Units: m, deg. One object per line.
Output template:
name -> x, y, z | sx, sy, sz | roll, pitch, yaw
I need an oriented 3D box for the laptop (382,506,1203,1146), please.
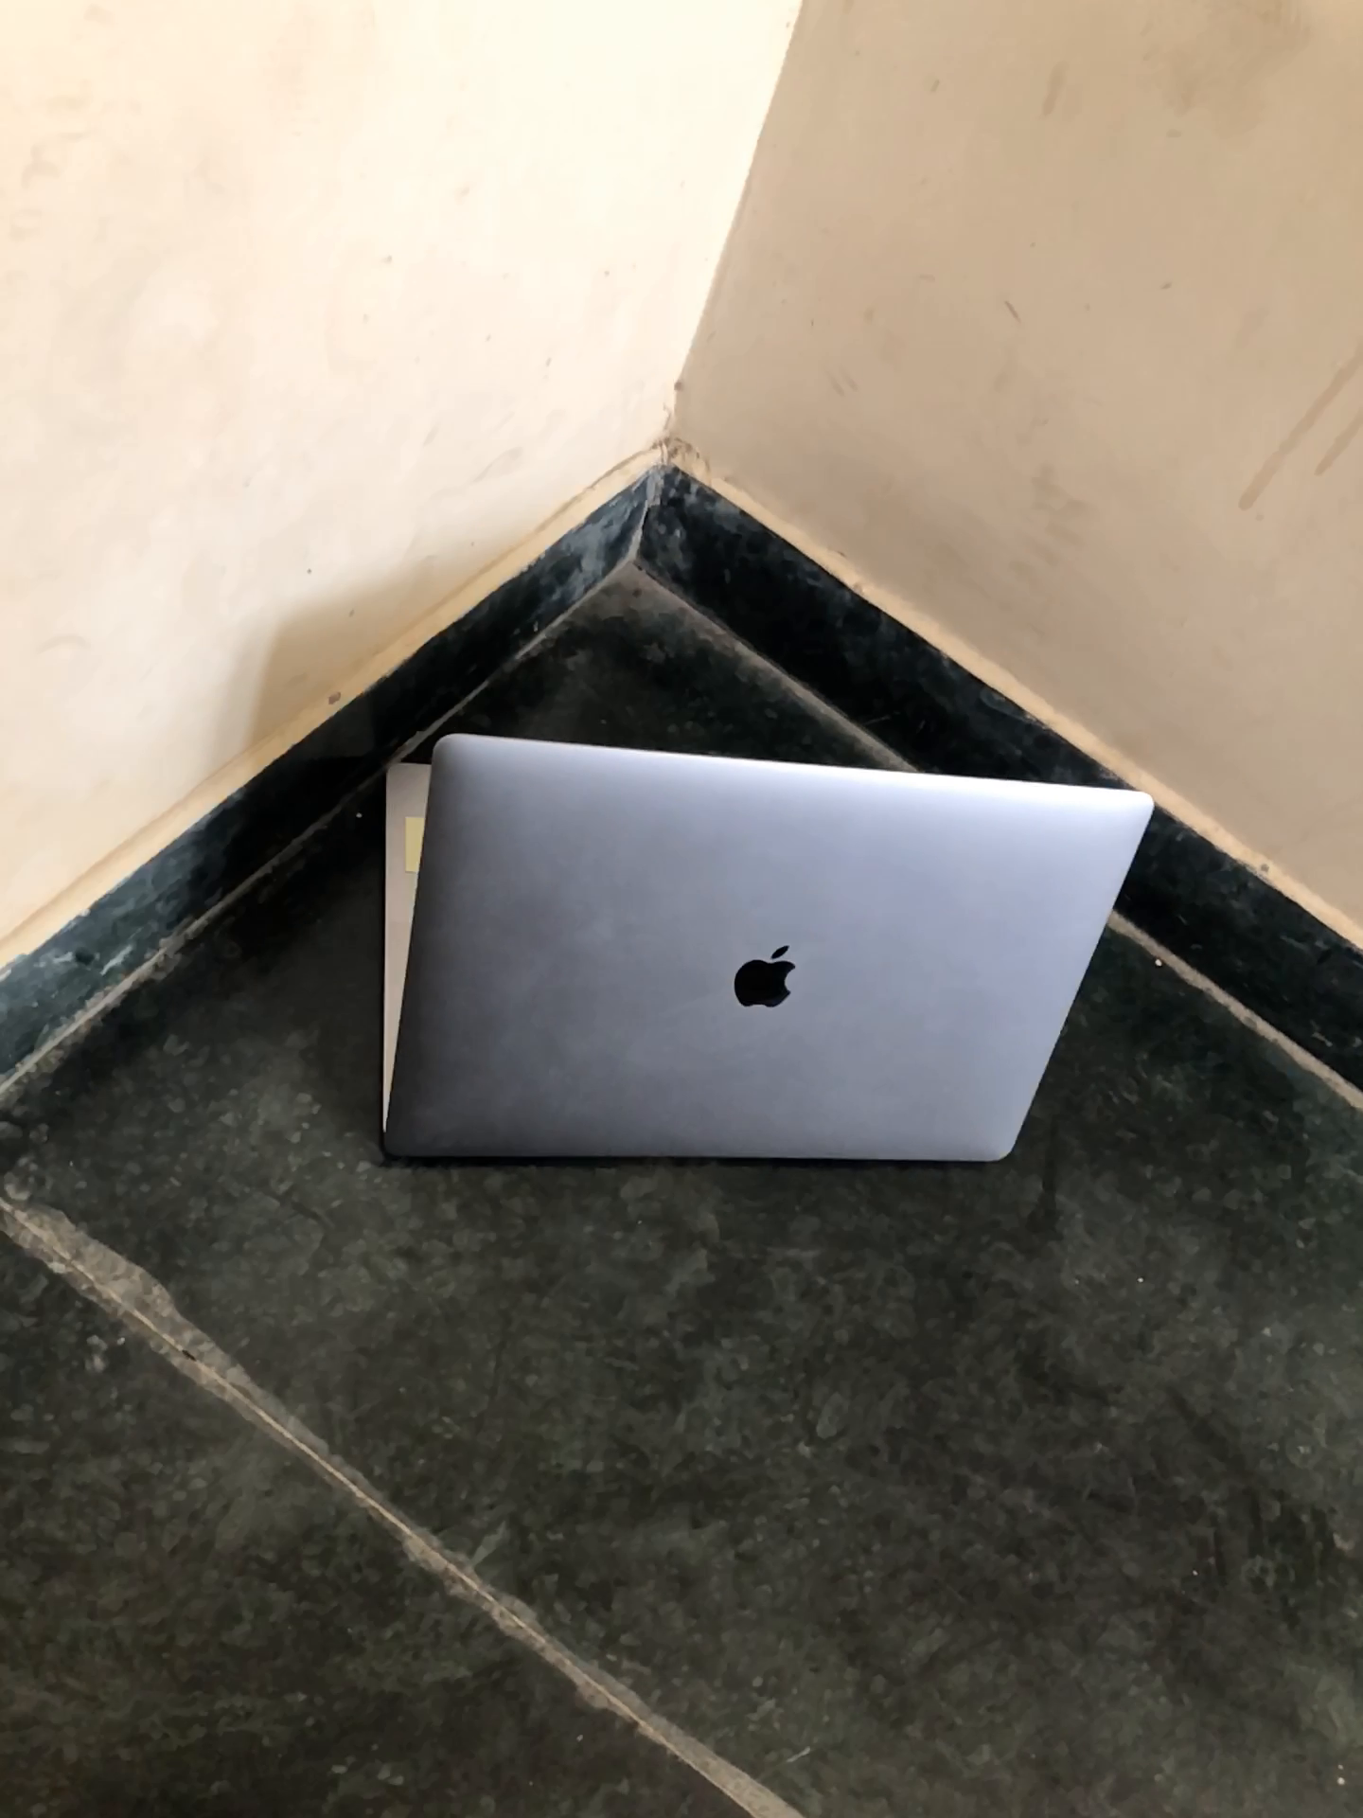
laptop -> 0.030, -0.028, 0.745 | 0.329, 0.198, 0.221 | 3, 58, -14
